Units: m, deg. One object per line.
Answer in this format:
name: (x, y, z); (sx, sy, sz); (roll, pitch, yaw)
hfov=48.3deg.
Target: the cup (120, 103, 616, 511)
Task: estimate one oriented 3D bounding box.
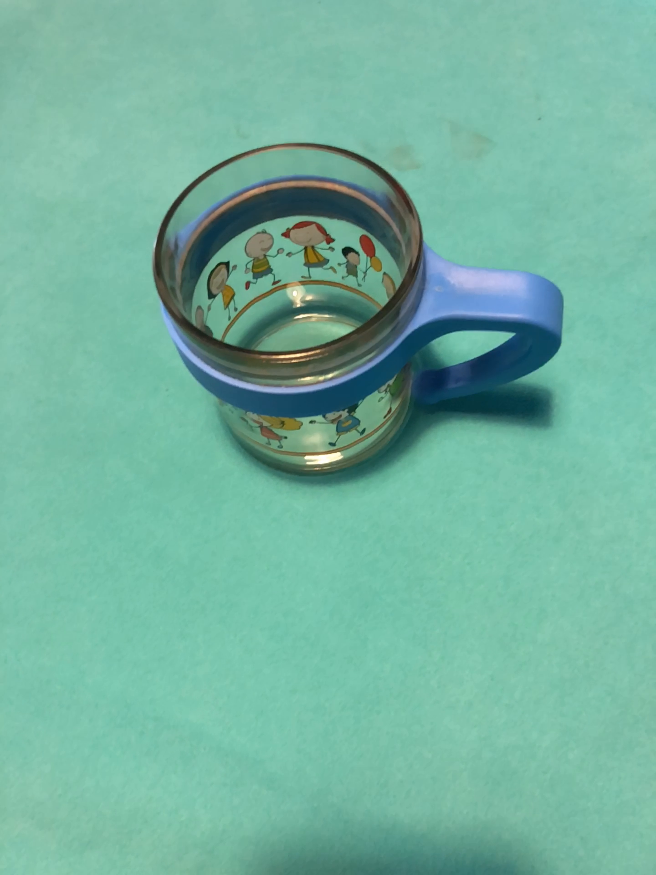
cup: (0.018, -0.041, 0.251); (0.130, 0.090, 0.090); (8, 66, 9)
